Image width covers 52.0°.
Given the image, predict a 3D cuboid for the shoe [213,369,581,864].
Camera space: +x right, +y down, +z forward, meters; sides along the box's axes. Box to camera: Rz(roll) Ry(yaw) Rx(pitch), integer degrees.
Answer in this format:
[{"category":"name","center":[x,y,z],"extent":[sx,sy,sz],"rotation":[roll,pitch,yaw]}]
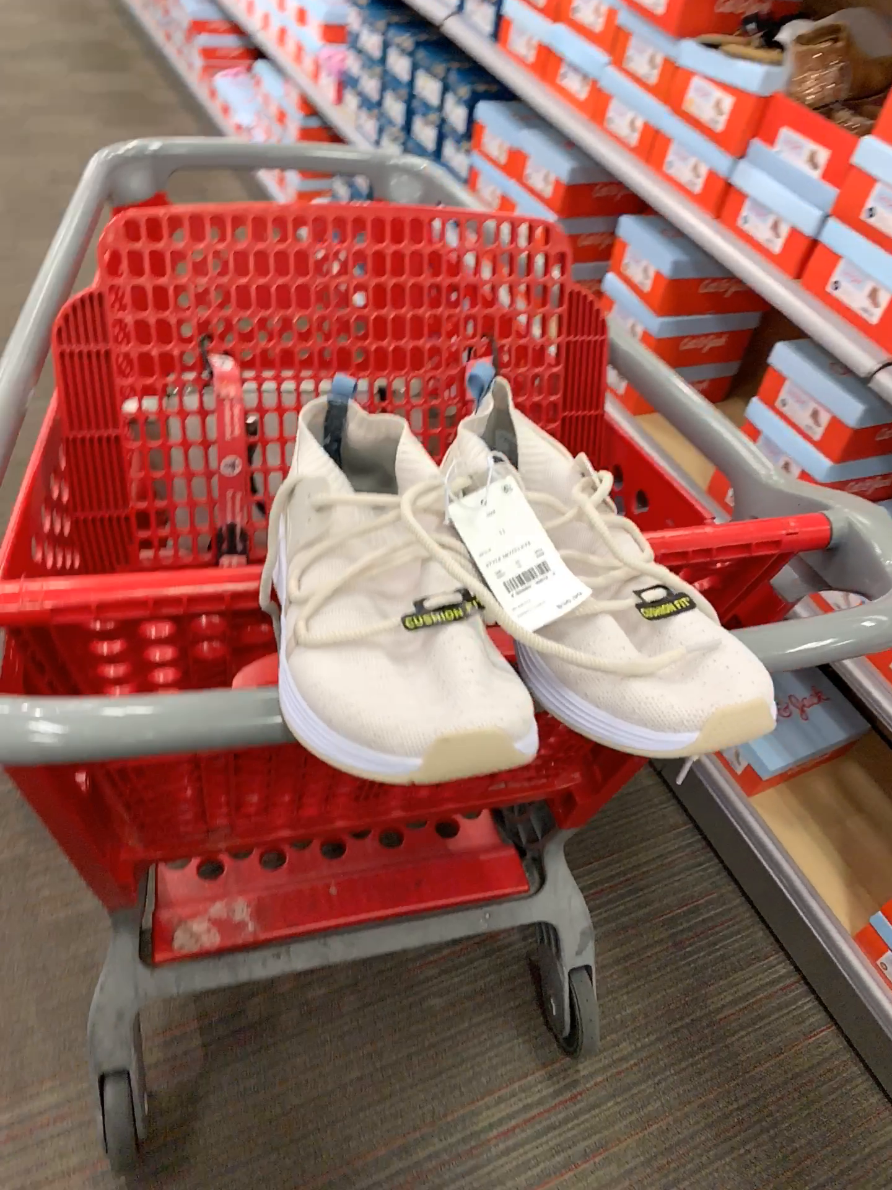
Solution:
[{"category":"shoe","center":[-0.046,-0.017,0.458],"extent":[0.110,0.110,0.281],"rotation":[-6,31,-16]}]

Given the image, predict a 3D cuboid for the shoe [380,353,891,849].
[{"category":"shoe","center":[0.072,-0.023,0.479],"extent":[0.110,0.110,0.281],"rotation":[-14,37,-23]}]
